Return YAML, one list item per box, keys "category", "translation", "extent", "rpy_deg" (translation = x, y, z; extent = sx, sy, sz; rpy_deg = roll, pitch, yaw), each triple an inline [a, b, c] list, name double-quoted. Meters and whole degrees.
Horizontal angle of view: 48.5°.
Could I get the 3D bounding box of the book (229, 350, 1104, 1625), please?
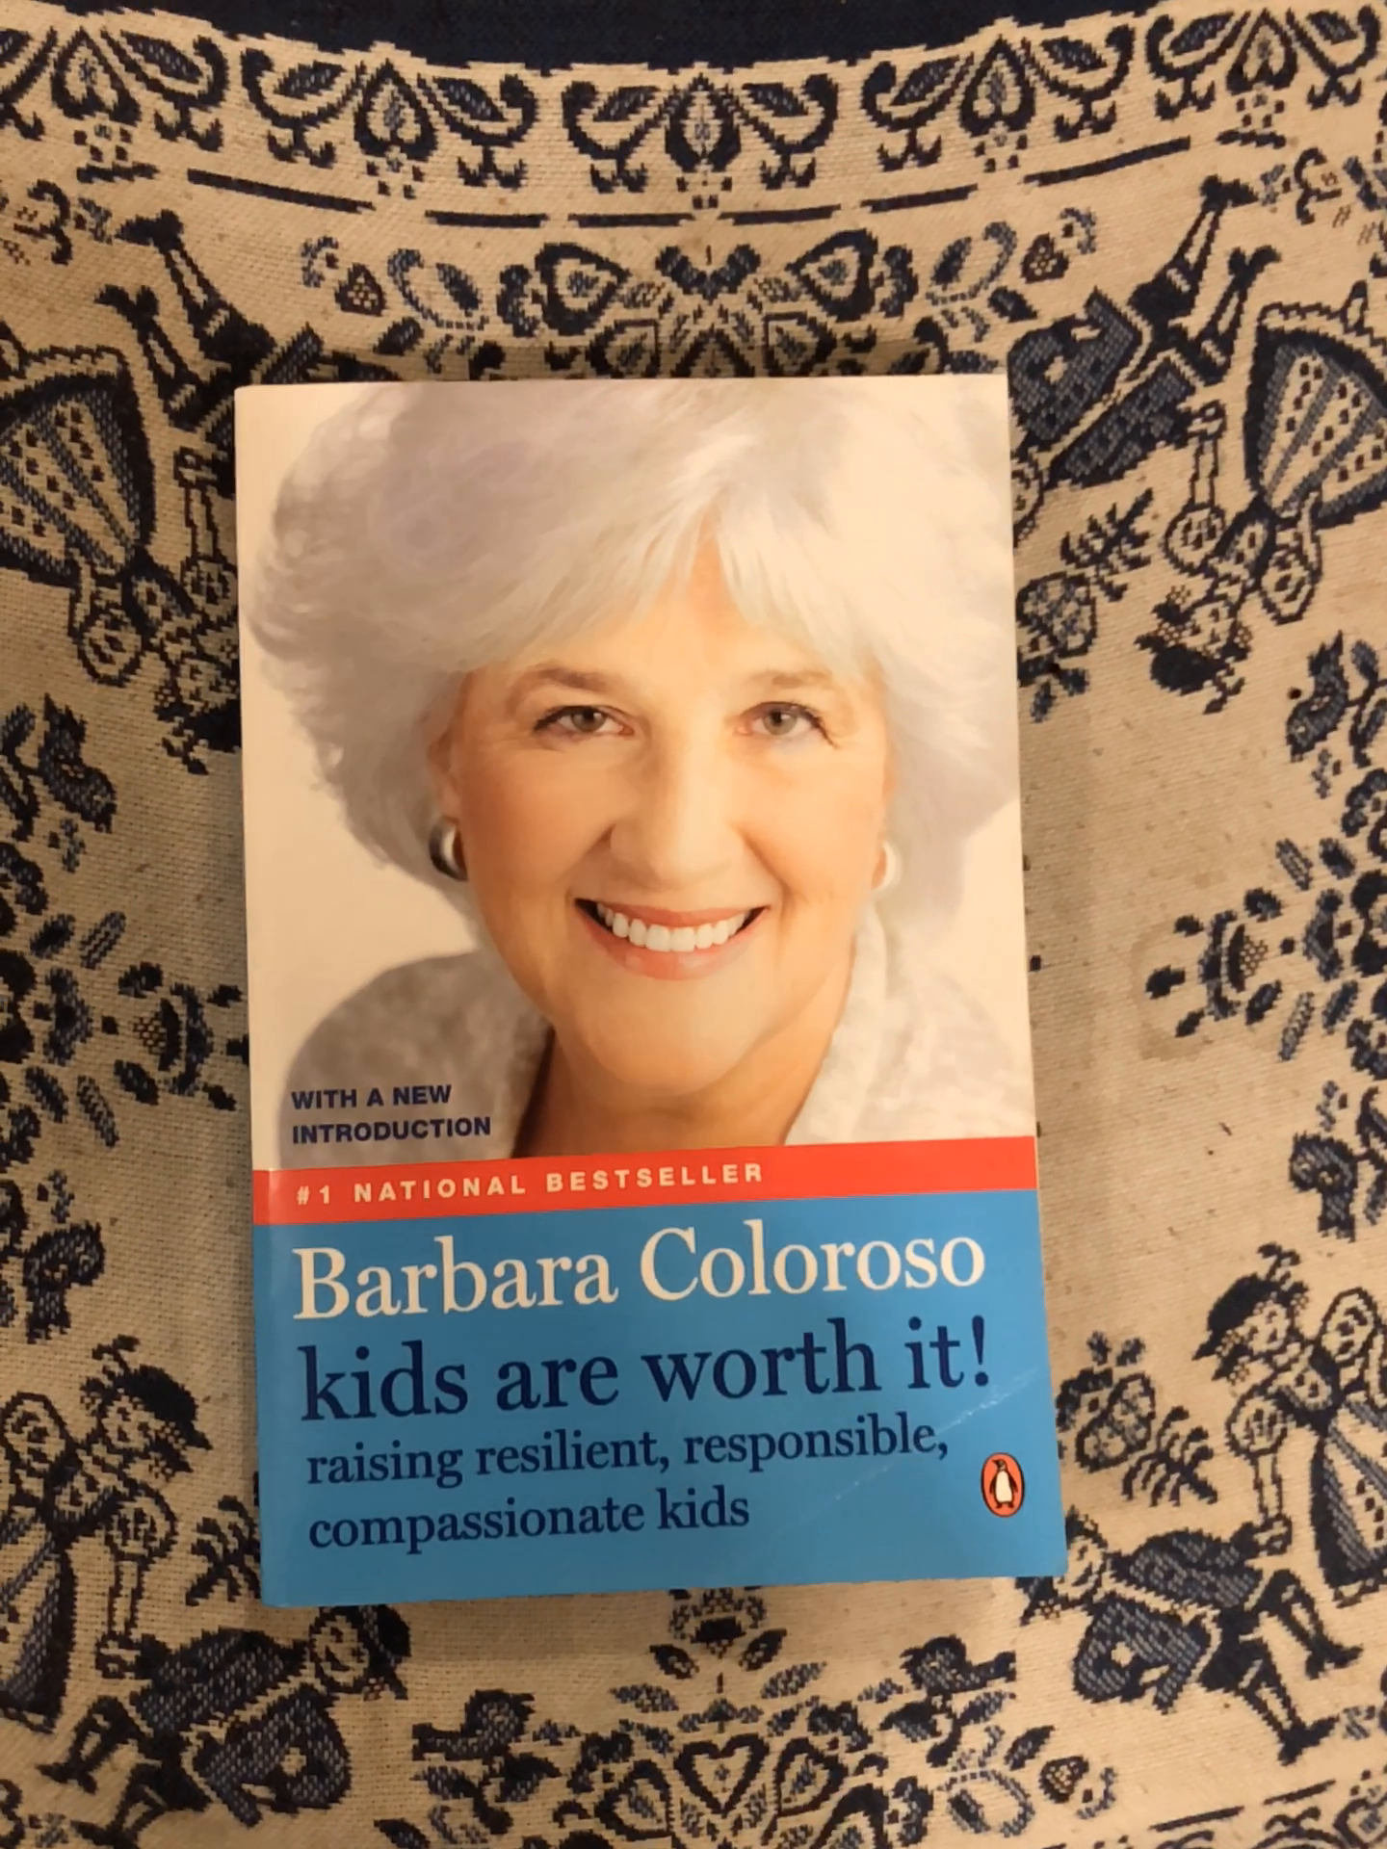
- category: "book"
  translation: [-0.006, 0.009, 0.296]
  extent: [0.150, 0.050, 0.220]
  rpy_deg: [-1, 88, -4]
